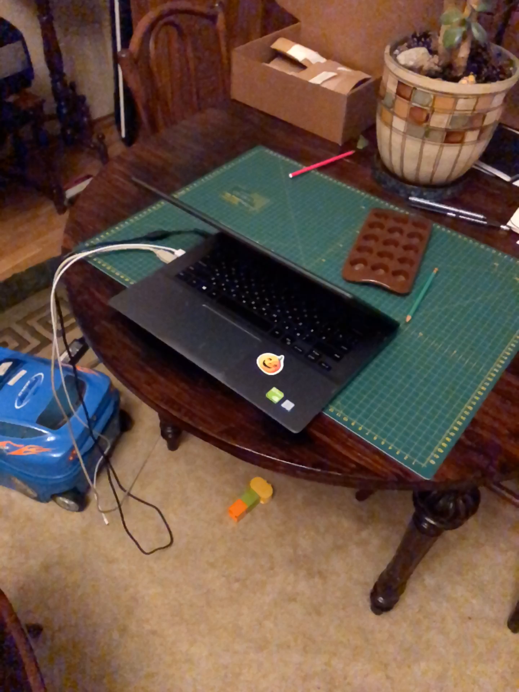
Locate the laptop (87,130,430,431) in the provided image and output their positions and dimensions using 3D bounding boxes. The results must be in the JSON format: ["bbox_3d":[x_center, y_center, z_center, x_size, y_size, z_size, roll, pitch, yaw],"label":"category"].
[{"bbox_3d":[-0.006,-0.099,0.706,0.317,0.162,0.225,33,53,25],"label":"laptop"}]
